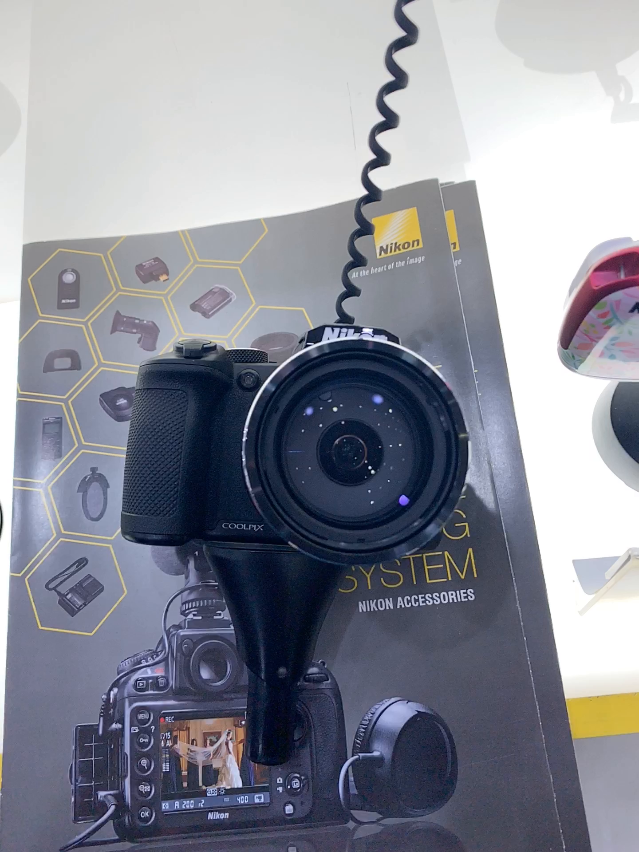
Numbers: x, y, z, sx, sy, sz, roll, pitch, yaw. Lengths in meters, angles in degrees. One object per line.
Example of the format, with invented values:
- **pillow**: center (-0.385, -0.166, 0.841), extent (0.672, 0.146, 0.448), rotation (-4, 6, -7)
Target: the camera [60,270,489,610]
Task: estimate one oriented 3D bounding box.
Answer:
- **camera**: center (-0.009, 0.004, 0.232), extent (0.120, 0.080, 0.090), rotation (4, 87, 9)
